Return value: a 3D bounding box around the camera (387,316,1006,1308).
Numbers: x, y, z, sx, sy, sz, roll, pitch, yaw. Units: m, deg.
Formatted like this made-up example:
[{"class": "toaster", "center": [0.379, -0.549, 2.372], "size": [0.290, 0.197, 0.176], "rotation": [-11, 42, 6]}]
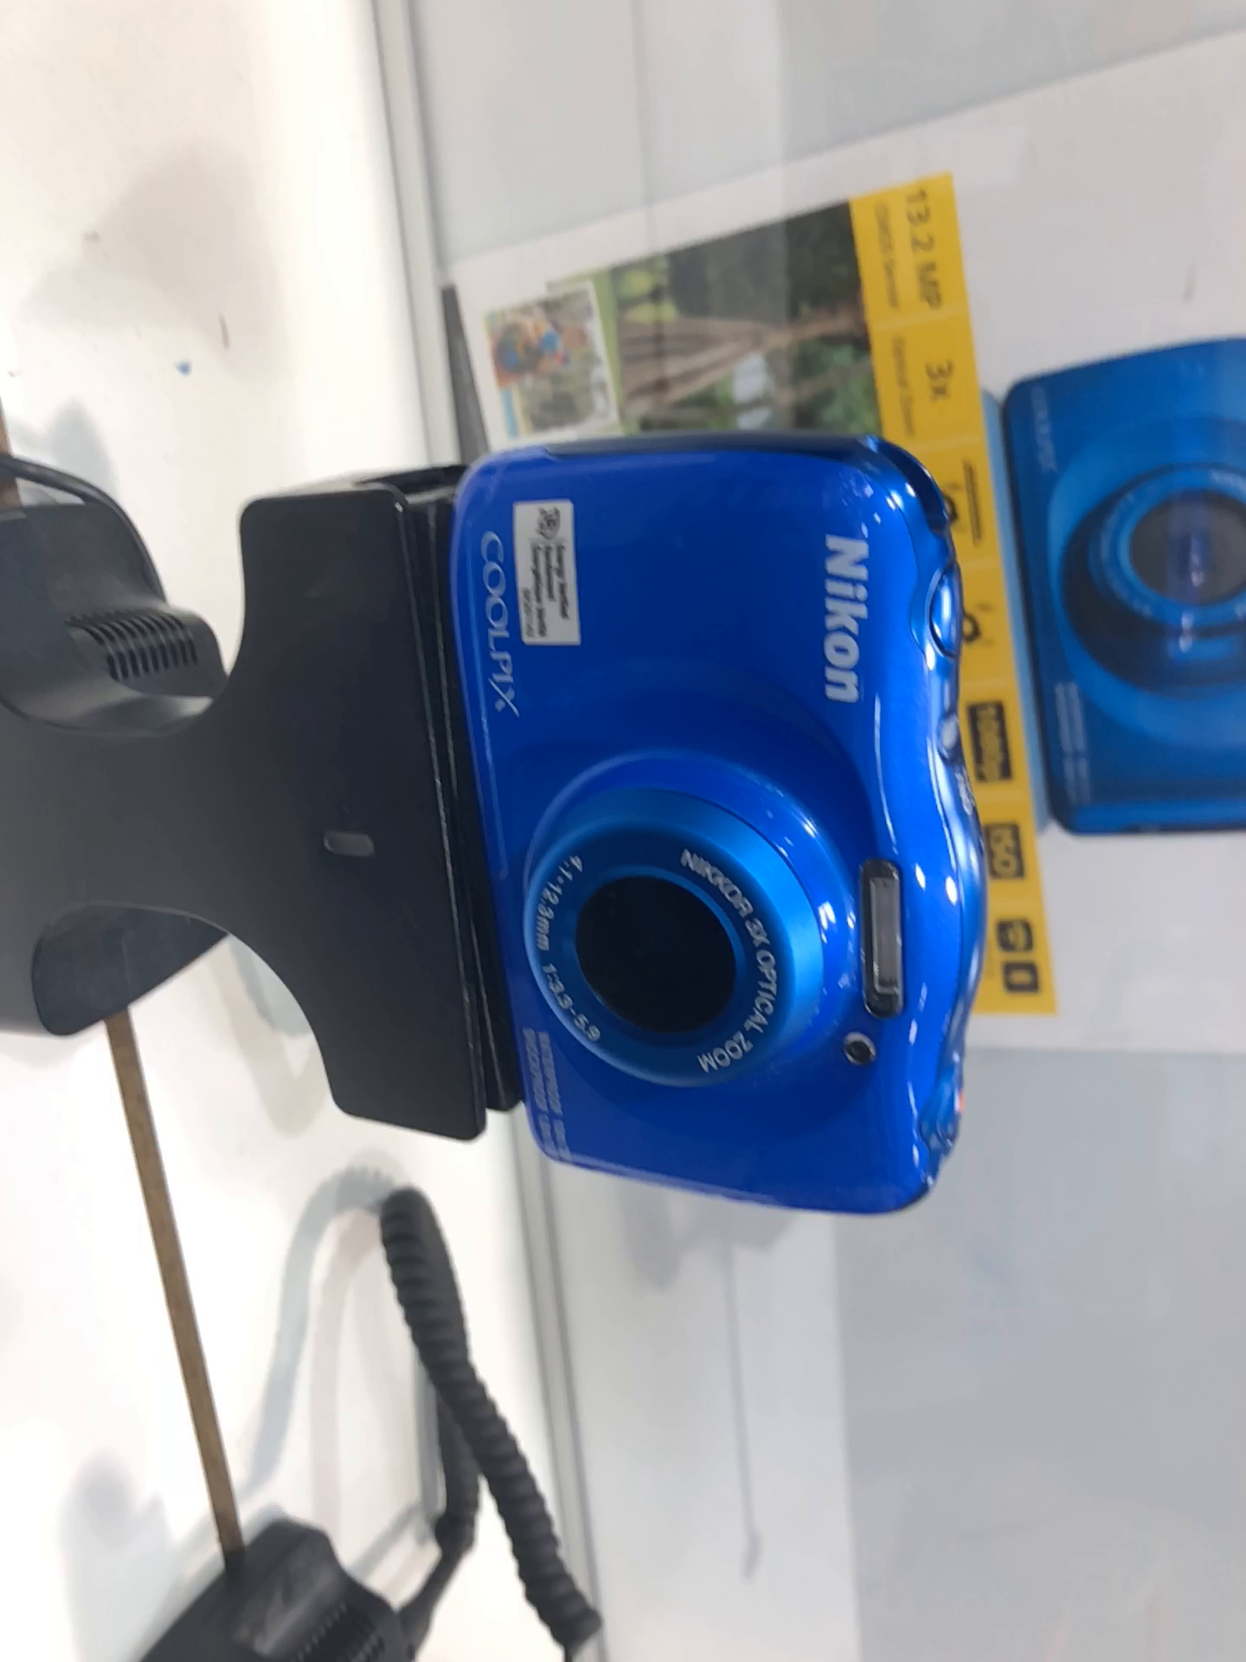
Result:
[{"class": "camera", "center": [0.017, -0.005, 0.211], "size": [0.050, 0.070, 0.130], "rotation": [-36, 125, -57]}]
